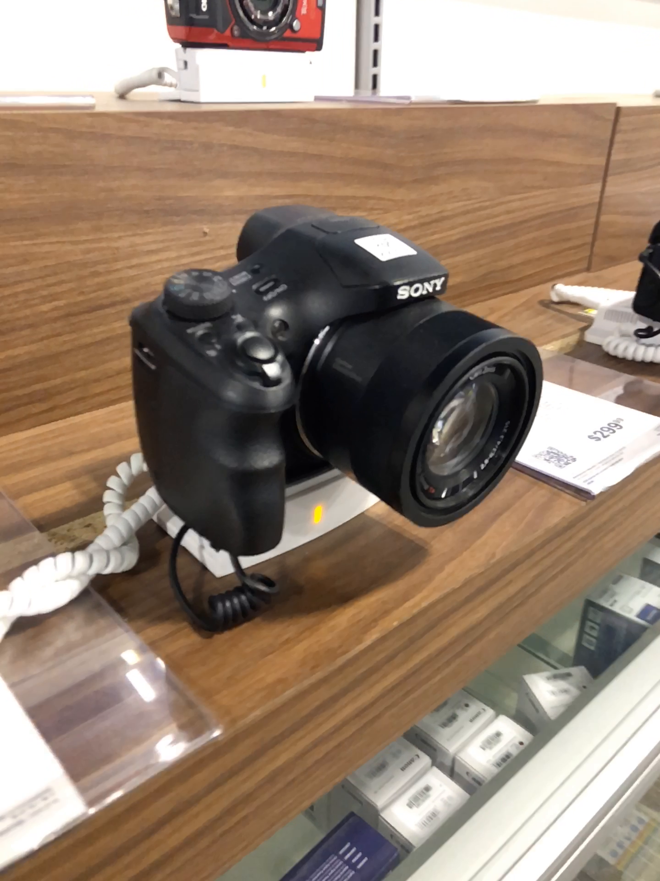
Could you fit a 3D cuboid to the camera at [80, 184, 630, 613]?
[{"bbox_3d":[0.007,-0.034,0.263,0.130,0.089,0.131,-22,34,-39],"label":"camera"}]
